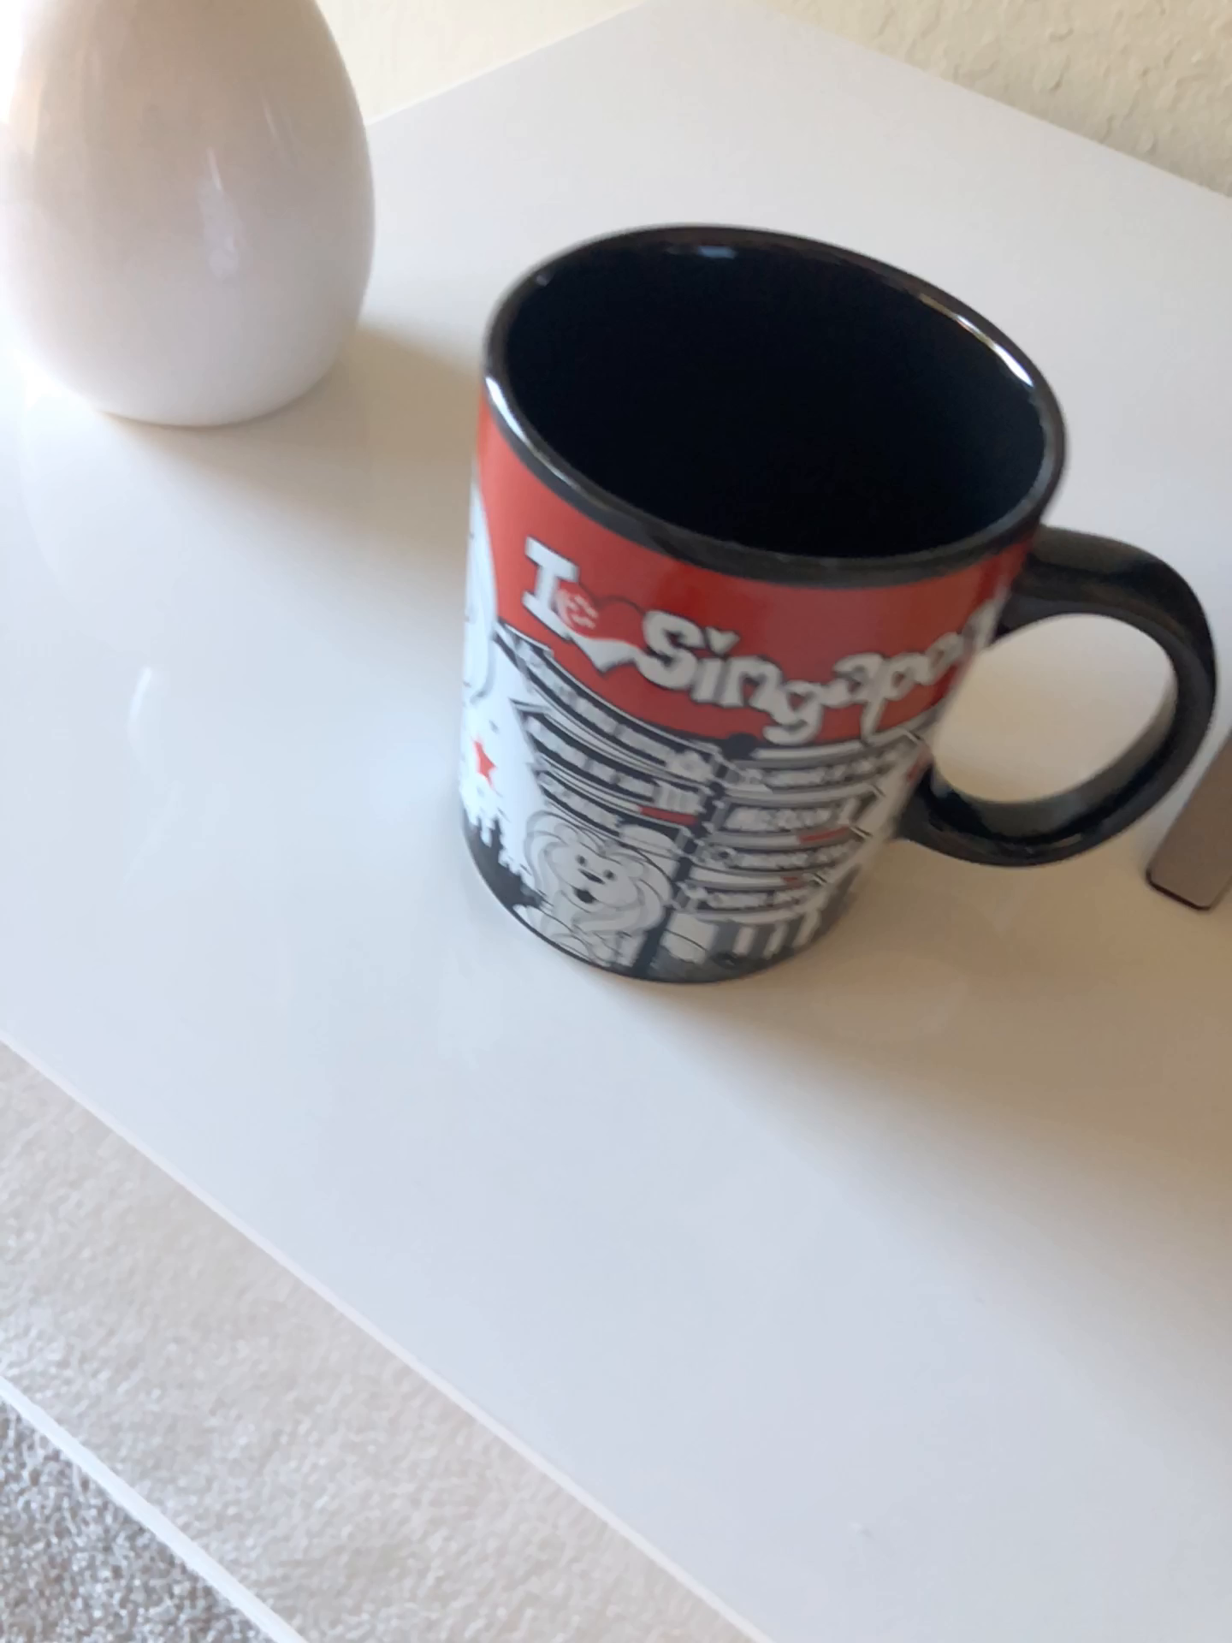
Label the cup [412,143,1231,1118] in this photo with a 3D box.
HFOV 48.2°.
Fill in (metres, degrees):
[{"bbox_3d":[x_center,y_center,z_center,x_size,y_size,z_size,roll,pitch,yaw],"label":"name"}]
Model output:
[{"bbox_3d":[0.038,-0.027,0.230,0.120,0.110,0.080,15,50,2],"label":"cup"}]
